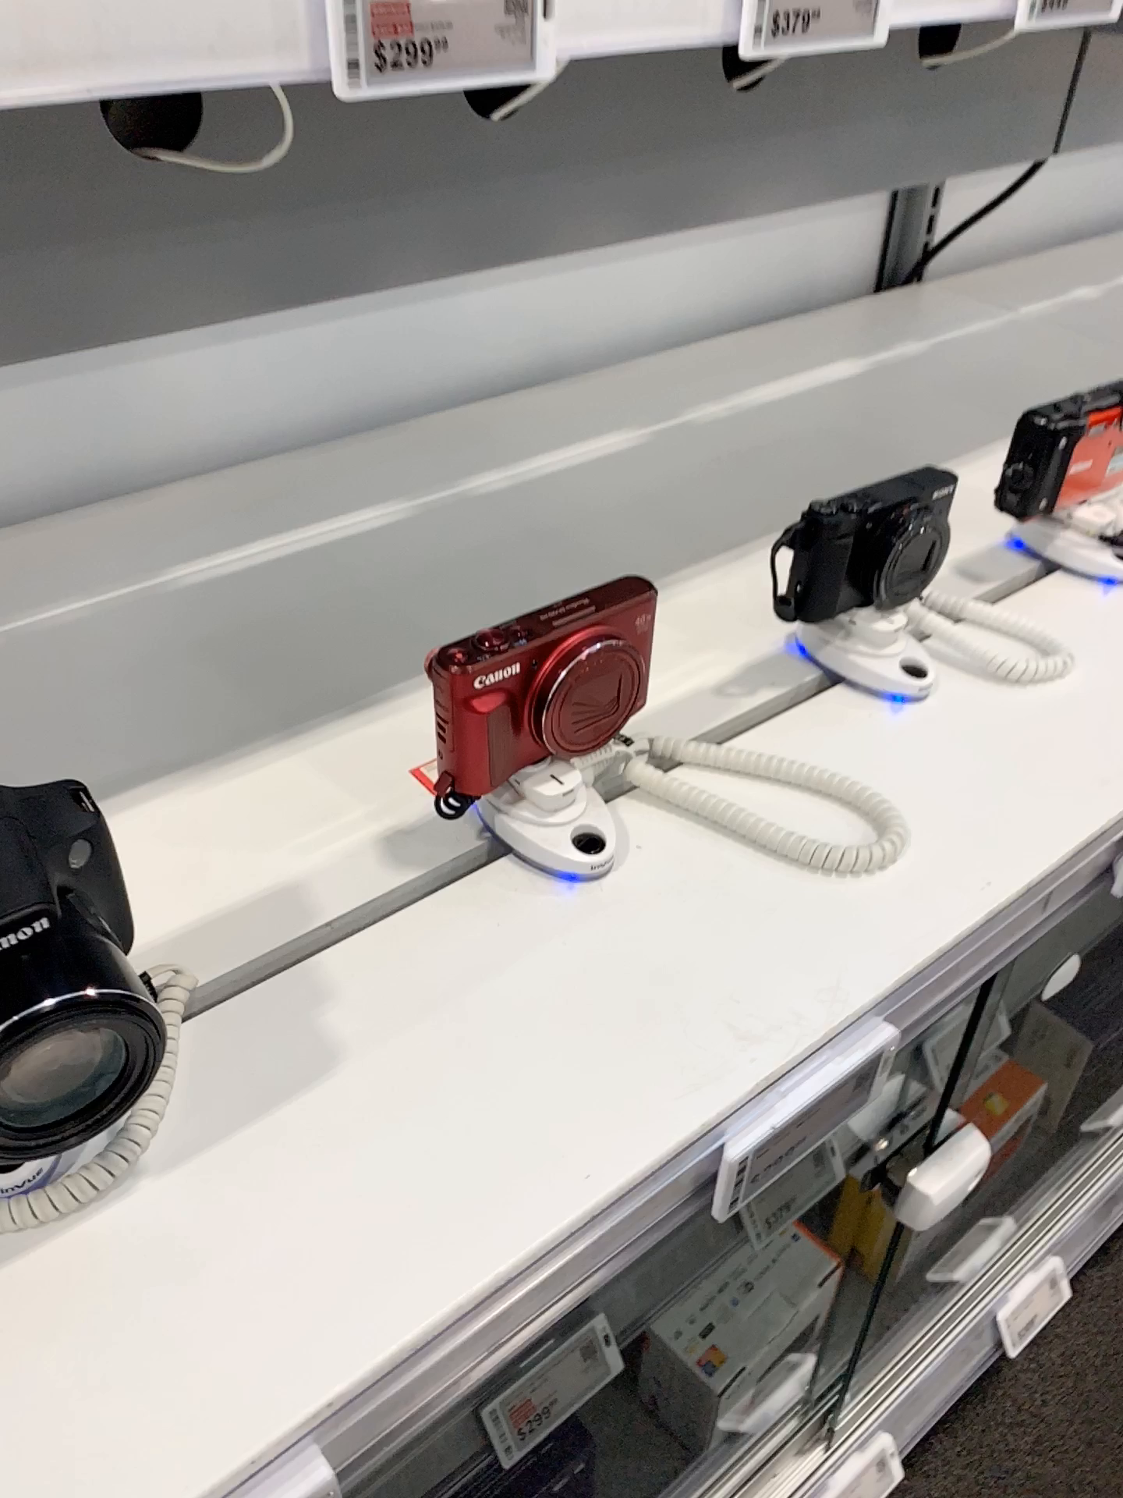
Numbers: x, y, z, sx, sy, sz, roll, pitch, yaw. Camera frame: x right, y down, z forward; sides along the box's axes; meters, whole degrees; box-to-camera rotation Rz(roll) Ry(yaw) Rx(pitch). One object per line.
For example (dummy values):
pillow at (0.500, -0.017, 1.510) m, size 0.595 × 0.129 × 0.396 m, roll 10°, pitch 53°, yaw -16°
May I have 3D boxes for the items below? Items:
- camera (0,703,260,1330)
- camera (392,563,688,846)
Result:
camera at (-0.172, 0.068, 0.335) m, size 0.120 × 0.089 × 0.100 m, roll -27°, pitch 46°, yaw -31°
camera at (-0.007, -0.021, 0.485) m, size 0.120 × 0.070 × 0.040 m, roll -26°, pitch 46°, yaw -31°
